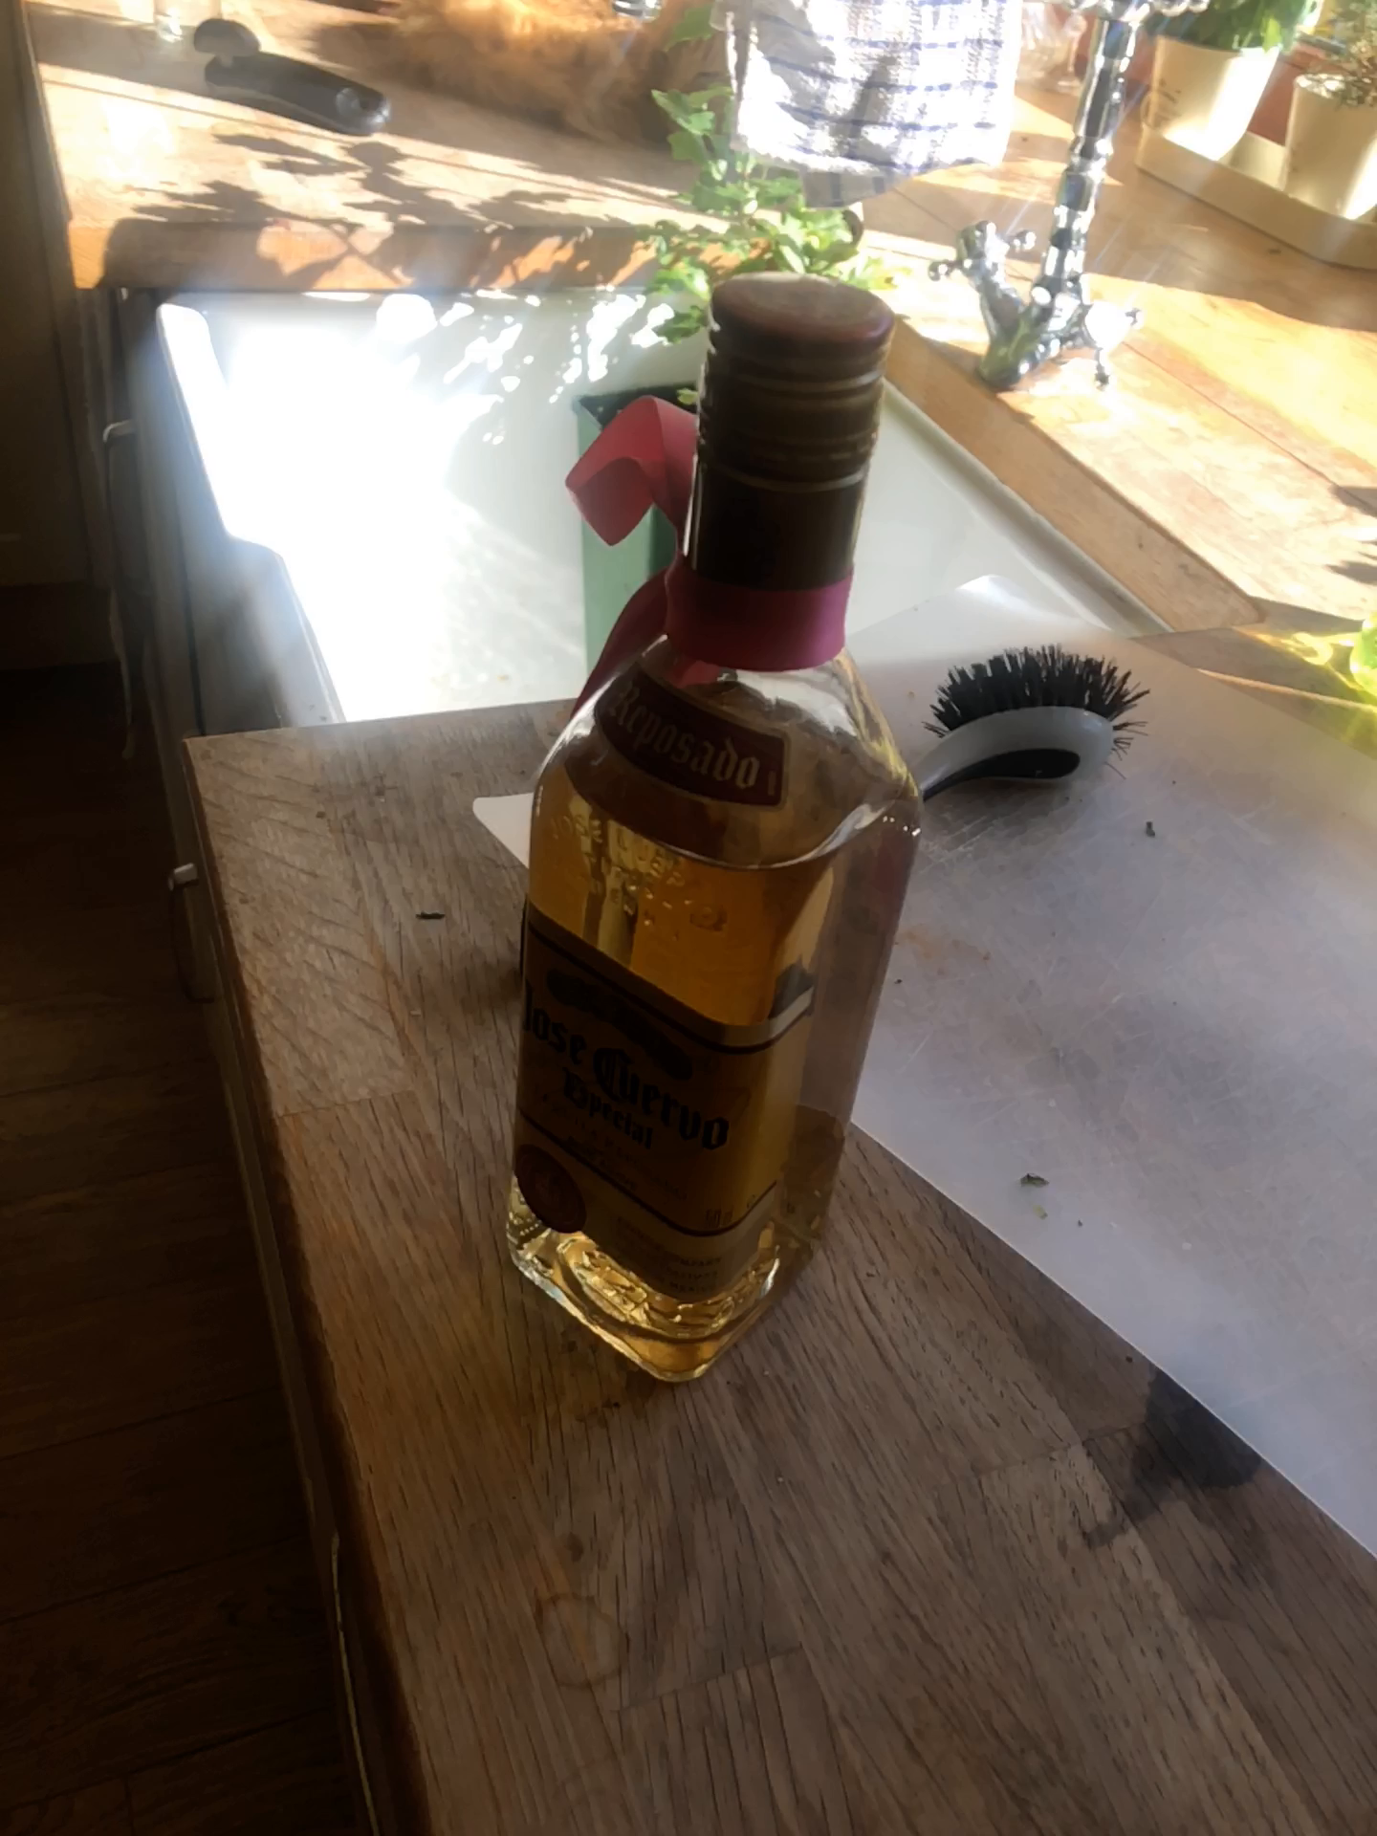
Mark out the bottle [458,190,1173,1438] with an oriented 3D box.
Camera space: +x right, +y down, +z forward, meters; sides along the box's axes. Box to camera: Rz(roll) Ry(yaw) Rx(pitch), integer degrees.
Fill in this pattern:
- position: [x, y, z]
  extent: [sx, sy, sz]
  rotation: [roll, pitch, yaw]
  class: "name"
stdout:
- position: [0.010, -0.008, 0.303]
  extent: [0.080, 0.228, 0.070]
  rotation: [30, 44, 25]
  class: "bottle"
